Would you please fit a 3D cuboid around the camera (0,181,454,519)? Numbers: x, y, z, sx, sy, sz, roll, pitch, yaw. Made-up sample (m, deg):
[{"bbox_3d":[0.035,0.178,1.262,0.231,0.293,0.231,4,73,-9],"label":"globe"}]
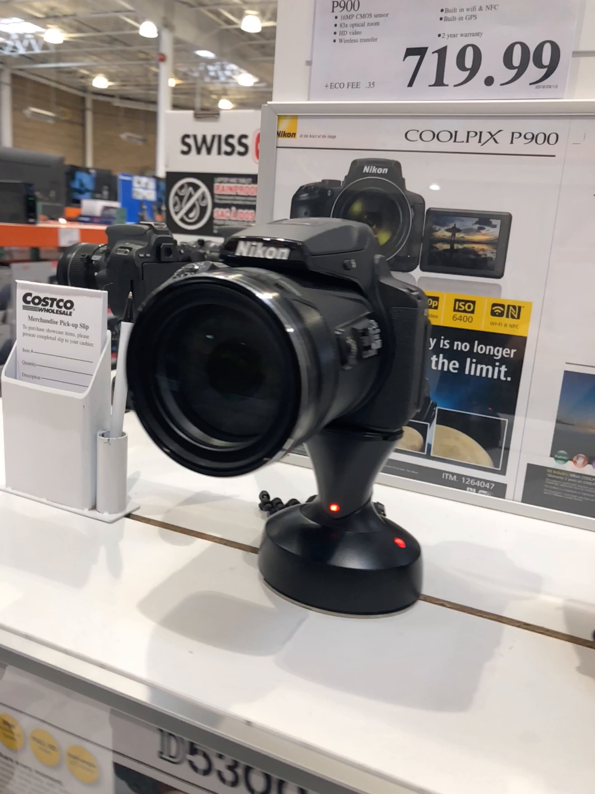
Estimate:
[{"bbox_3d":[-0.025,-0.035,0.293,0.150,0.100,0.140,10,15,23],"label":"camera"}]
